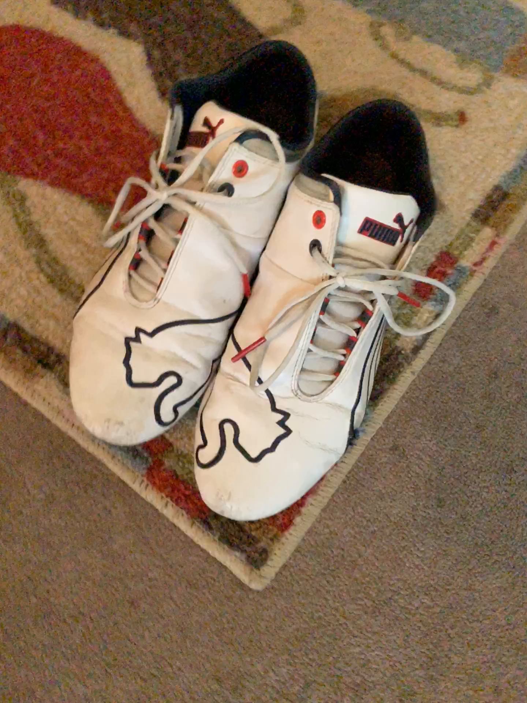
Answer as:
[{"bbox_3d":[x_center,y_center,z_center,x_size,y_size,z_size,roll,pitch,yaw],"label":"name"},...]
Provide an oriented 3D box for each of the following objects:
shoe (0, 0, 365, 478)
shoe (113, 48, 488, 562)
[{"bbox_3d":[-0.044,-0.082,0.343,0.100,0.090,0.291,25,69,3],"label":"shoe"},{"bbox_3d":[0.032,-0.034,0.341,0.100,0.100,0.291,25,69,3],"label":"shoe"}]
